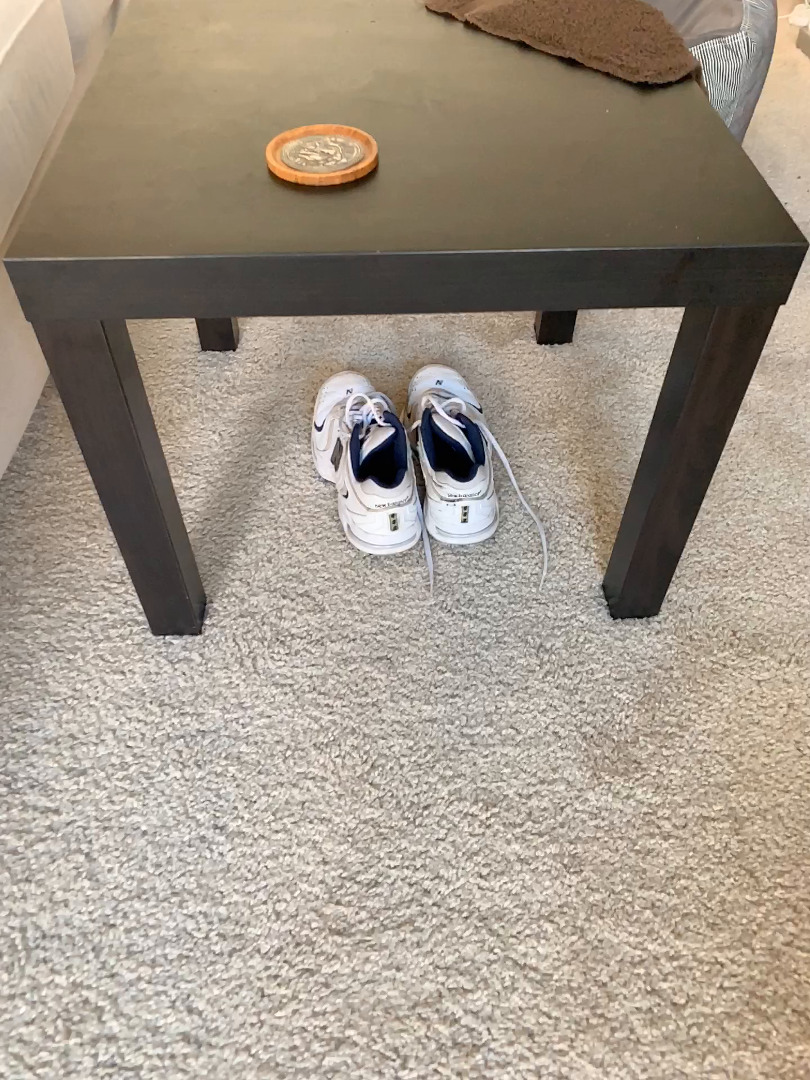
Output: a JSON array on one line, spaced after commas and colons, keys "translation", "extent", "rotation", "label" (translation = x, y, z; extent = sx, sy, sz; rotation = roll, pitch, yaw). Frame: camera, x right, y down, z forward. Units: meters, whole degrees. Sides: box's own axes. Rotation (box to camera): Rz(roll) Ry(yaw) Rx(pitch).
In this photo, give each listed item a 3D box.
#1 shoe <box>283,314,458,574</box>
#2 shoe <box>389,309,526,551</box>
[{"translation": [-0.047, -0.119, 0.933], "extent": [0.110, 0.100, 0.301], "rotation": [-13, 51, -12], "label": "shoe"}, {"translation": [0.051, -0.138, 0.966], "extent": [0.110, 0.100, 0.301], "rotation": [-4, 49, -5], "label": "shoe"}]
